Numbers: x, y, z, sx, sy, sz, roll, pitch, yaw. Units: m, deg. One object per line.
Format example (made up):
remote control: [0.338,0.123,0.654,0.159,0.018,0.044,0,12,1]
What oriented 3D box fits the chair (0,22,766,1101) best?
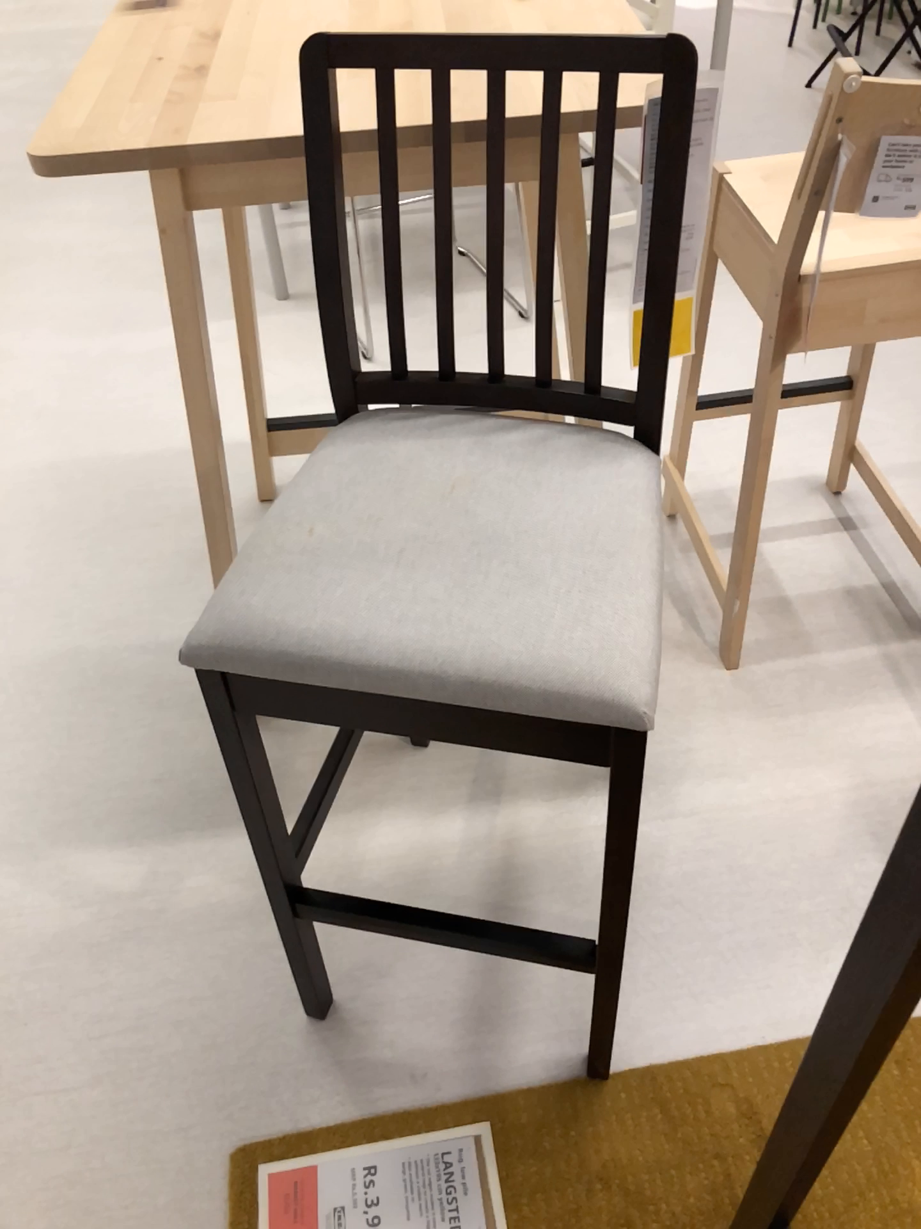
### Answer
chair: [0.016,0.017,1.160,0.480,1.093,0.563,7,46,12]
